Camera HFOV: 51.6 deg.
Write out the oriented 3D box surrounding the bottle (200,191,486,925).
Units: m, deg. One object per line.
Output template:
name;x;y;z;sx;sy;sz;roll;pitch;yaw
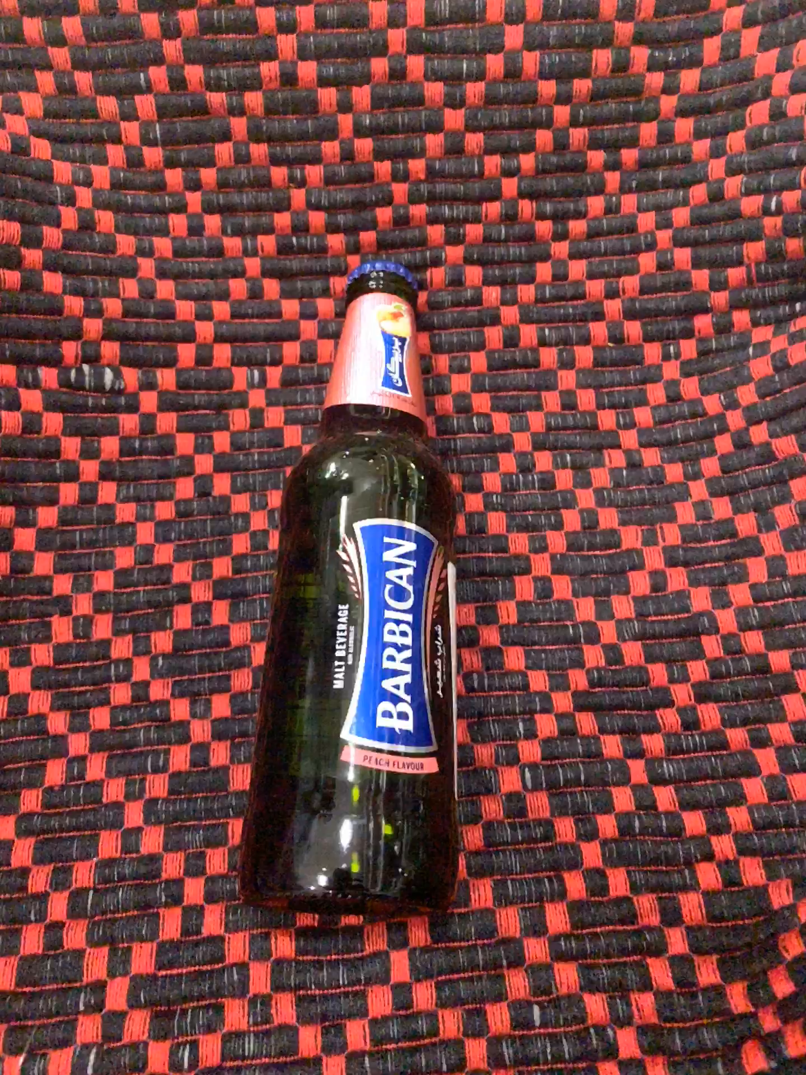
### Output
bottle;-0.011;-0.003;0.259;0.050;0.050;0.220;-20;55;34
